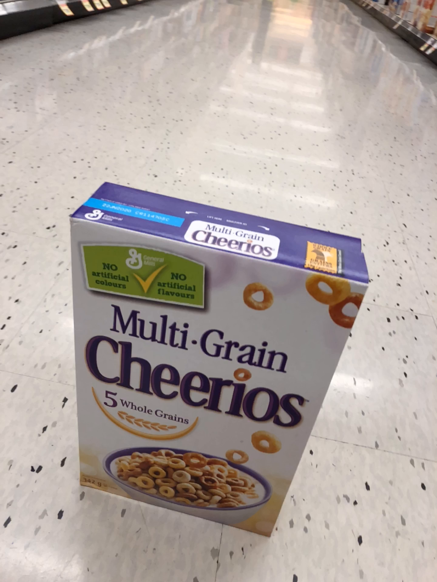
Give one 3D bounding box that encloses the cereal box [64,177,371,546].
[{"bbox_3d":[-0.020,0.081,0.401,0.190,0.308,0.060,13,35,4],"label":"cereal box"}]
